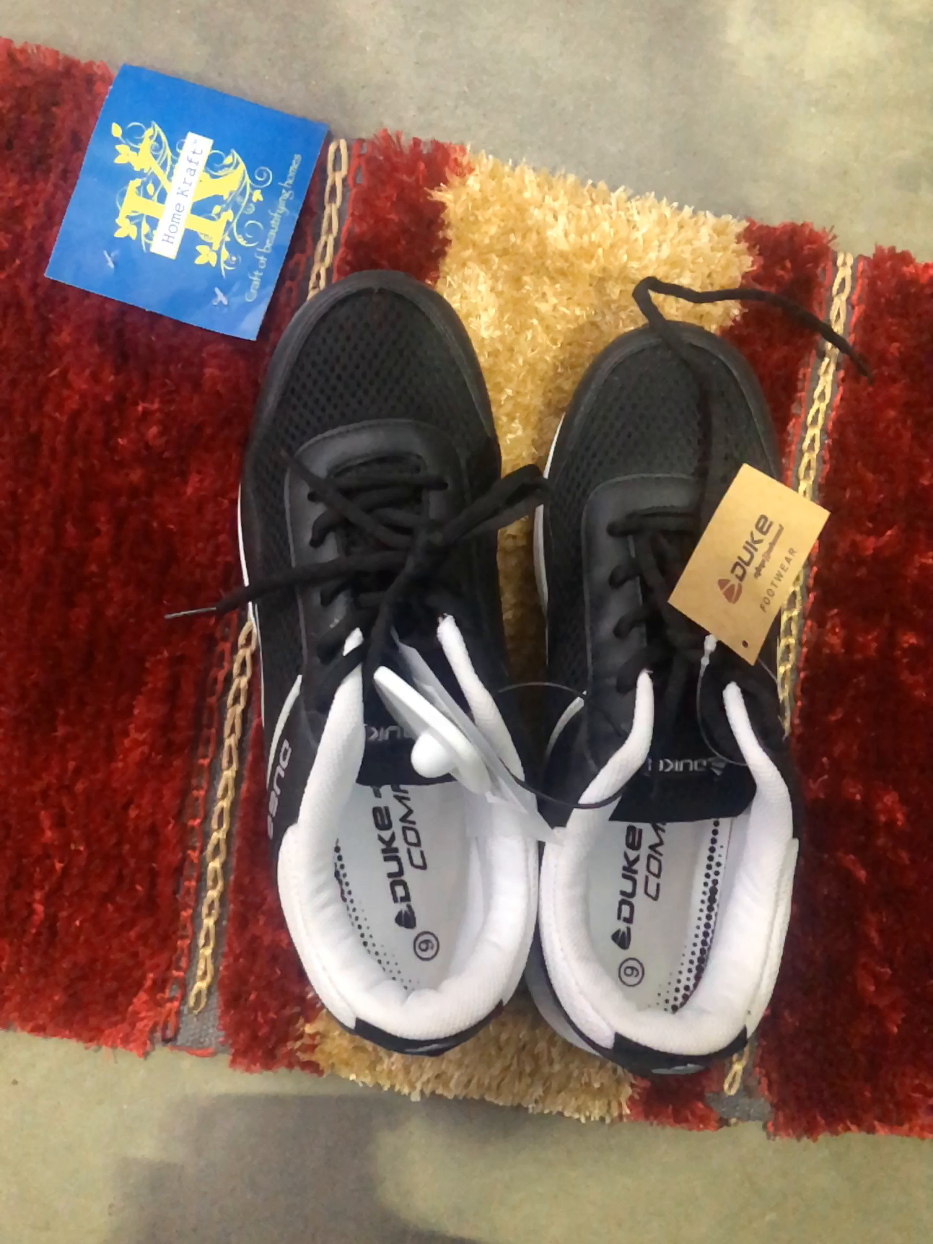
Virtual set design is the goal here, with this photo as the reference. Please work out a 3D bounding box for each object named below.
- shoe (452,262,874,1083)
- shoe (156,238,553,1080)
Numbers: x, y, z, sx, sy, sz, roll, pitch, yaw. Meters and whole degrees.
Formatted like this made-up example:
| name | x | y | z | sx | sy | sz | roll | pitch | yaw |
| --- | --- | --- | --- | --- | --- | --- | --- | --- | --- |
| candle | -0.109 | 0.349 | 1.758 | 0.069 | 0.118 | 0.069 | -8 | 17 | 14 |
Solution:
| name | x | y | z | sx | sy | sz | roll | pitch | yaw |
| --- | --- | --- | --- | --- | --- | --- | --- | --- | --- |
| shoe | 0.065 | 0.017 | 0.361 | 0.110 | 0.070 | 0.250 | 6 | 85 | -7 |
| shoe | -0.037 | 0.007 | 0.336 | 0.100 | 0.070 | 0.240 | -4 | 86 | -8 |
